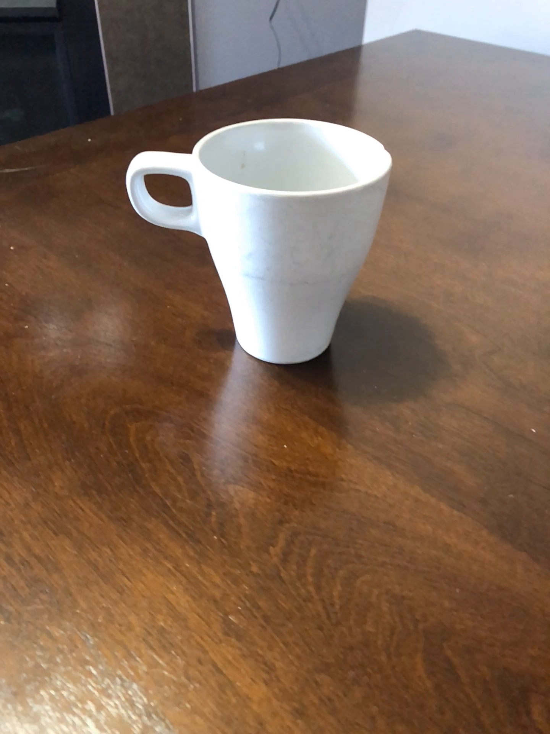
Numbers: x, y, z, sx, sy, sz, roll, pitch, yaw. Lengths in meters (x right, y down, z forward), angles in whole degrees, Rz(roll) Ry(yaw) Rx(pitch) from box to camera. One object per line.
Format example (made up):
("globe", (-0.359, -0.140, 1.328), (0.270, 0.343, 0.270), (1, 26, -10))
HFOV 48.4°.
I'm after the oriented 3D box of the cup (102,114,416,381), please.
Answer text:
("cup", (-0.008, -0.058, 0.296), (0.120, 0.100, 0.080), (0, 39, -3))
